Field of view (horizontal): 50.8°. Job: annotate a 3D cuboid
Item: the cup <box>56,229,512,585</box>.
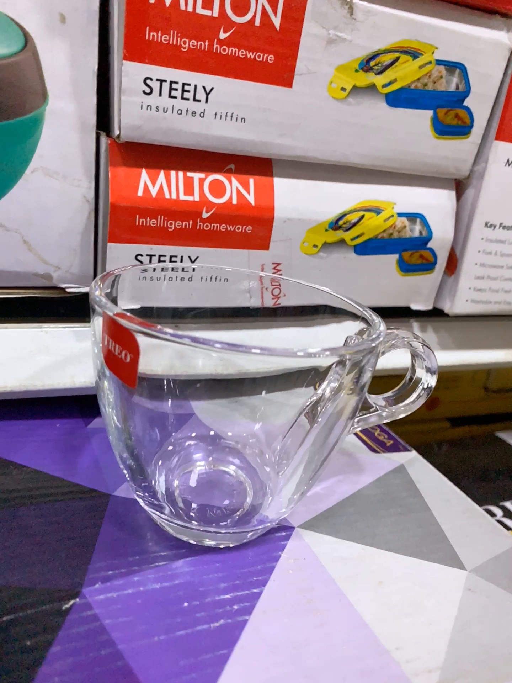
[{"bbox_3d":[0.001,0.008,0.163,0.110,0.060,0.081,-2,25,-23],"label":"cup"}]
